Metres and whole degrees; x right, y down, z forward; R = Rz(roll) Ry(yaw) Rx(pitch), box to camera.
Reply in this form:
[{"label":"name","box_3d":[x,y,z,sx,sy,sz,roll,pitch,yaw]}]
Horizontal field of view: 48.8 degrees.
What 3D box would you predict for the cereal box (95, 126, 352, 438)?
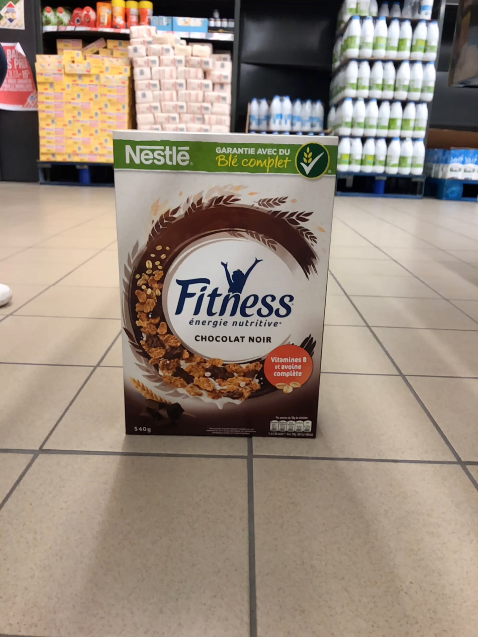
[{"label":"cereal box","box_3d":[-0.014,-0.033,0.506,0.210,0.279,0.080,1,16,1]}]
